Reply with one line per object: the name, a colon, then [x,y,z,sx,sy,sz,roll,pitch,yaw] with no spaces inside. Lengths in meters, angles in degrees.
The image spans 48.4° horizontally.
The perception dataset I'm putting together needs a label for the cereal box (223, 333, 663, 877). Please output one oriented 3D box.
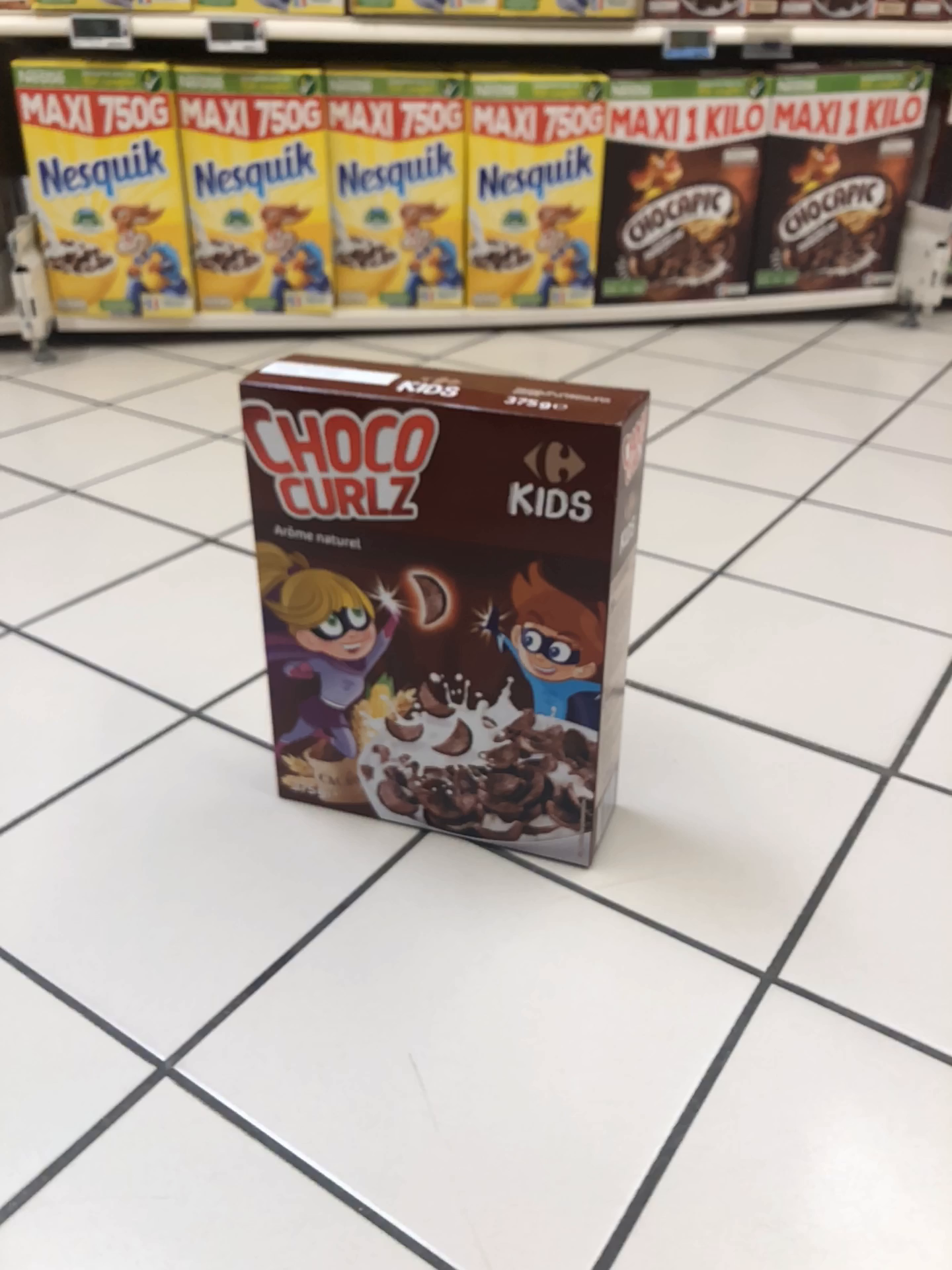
cereal box: [-0.017,-0.015,0.571,0.200,0.259,0.070,10,30,17]
